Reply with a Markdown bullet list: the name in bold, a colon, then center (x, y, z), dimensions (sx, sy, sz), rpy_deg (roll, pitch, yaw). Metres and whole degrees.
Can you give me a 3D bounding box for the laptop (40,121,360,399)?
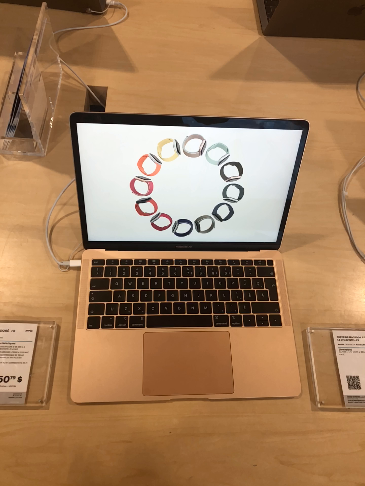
- **laptop**: center (0.010, 0.027, 0.500), dimensions (0.289, 0.168, 0.298), rpy_deg (1, 64, -6)
